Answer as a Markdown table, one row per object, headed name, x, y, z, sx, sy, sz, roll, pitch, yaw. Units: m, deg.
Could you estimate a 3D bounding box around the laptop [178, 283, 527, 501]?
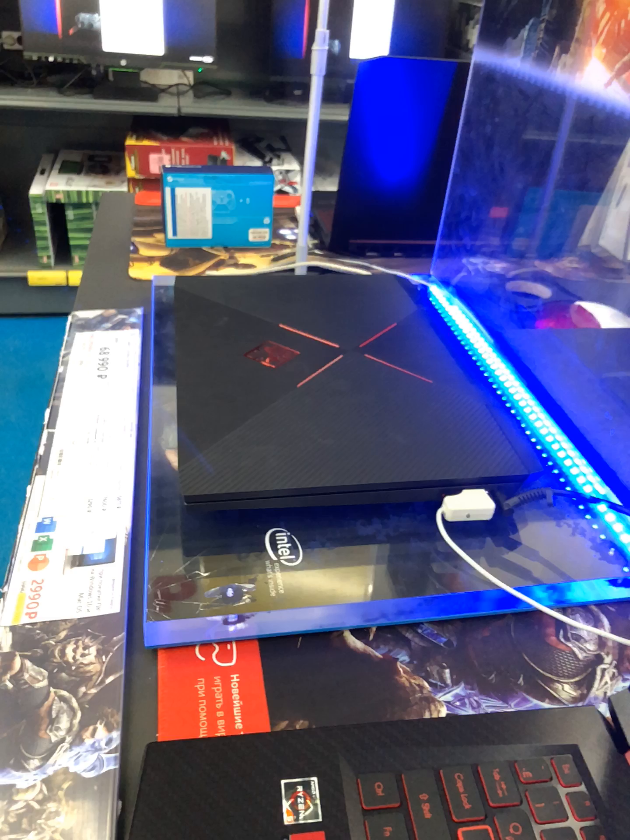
| name | x | y | z | sx | sy | sz | roll | pitch | yaw |
| --- | --- | --- | --- | --- | --- | --- | --- | --- | --- |
| laptop | 0.005 | -0.051 | 0.604 | 0.237 | 0.003 | 0.351 | -2 | 33 | -9 |
